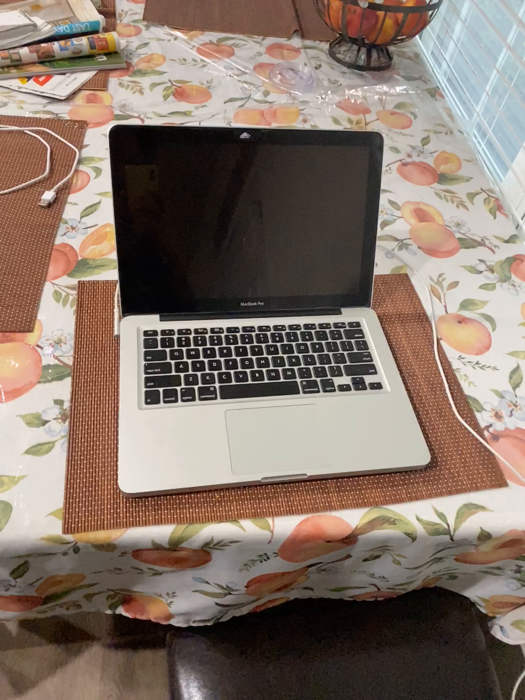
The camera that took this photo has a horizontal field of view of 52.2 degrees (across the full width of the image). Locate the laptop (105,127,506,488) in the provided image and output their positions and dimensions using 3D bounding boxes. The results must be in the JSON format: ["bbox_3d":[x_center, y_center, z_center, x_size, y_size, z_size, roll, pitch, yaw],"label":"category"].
[{"bbox_3d":[0.010,-0.066,0.577,0.317,0.162,0.350,-3,53,-10],"label":"laptop"}]
